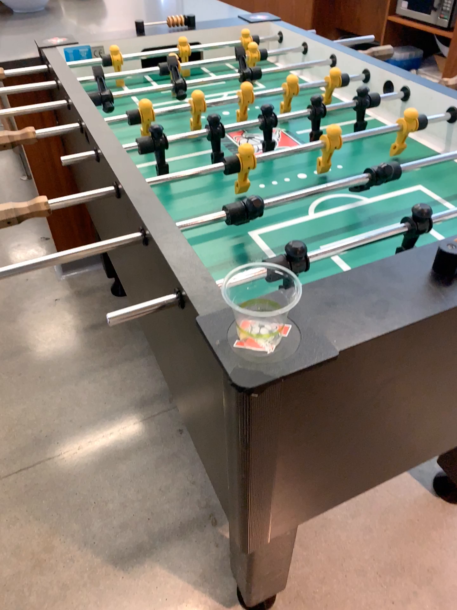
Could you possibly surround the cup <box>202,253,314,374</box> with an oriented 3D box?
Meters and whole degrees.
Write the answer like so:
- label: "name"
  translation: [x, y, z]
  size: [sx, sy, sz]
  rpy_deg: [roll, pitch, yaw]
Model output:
- label: "cup"
  translation: [0.026, 0.006, 0.434]
  size: [0.070, 0.060, 0.070]
  rpy_deg: [-1, 42, 1]
